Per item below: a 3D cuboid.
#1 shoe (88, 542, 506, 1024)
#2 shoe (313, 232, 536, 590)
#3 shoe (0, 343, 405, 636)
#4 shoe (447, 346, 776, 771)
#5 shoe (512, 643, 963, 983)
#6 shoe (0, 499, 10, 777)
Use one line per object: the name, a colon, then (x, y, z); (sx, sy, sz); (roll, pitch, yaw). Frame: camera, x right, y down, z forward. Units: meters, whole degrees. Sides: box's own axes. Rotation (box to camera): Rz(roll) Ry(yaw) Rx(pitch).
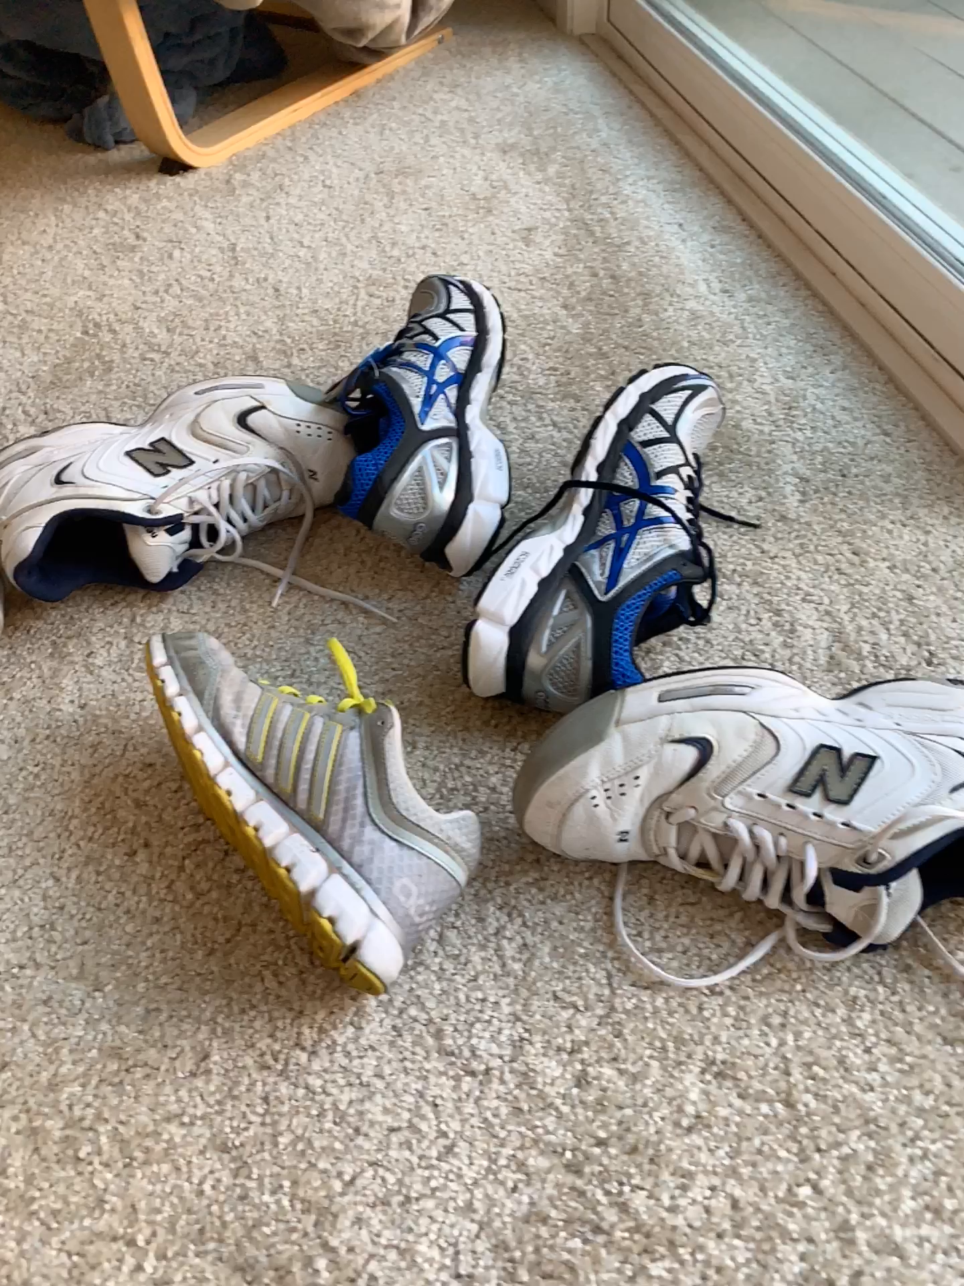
shoe: (-0.097, 0.058, 0.502); (0.100, 0.090, 0.221); (-29, 51, -26)
shoe: (-0.039, -0.179, 0.734); (0.120, 0.090, 0.261); (18, 45, -20)
shoe: (-0.207, -0.113, 0.707); (0.280, 0.099, 0.101); (-18, 51, -14)
shoe: (0.091, -0.070, 0.639); (0.120, 0.090, 0.281); (18, 50, 15)
shoe: (0.156, 0.082, 0.489); (0.270, 0.099, 0.100); (5, 48, 7)
shoe: (-0.428, -0.007, 0.613); (0.230, 0.080, 0.080); (-17, 41, -13)
